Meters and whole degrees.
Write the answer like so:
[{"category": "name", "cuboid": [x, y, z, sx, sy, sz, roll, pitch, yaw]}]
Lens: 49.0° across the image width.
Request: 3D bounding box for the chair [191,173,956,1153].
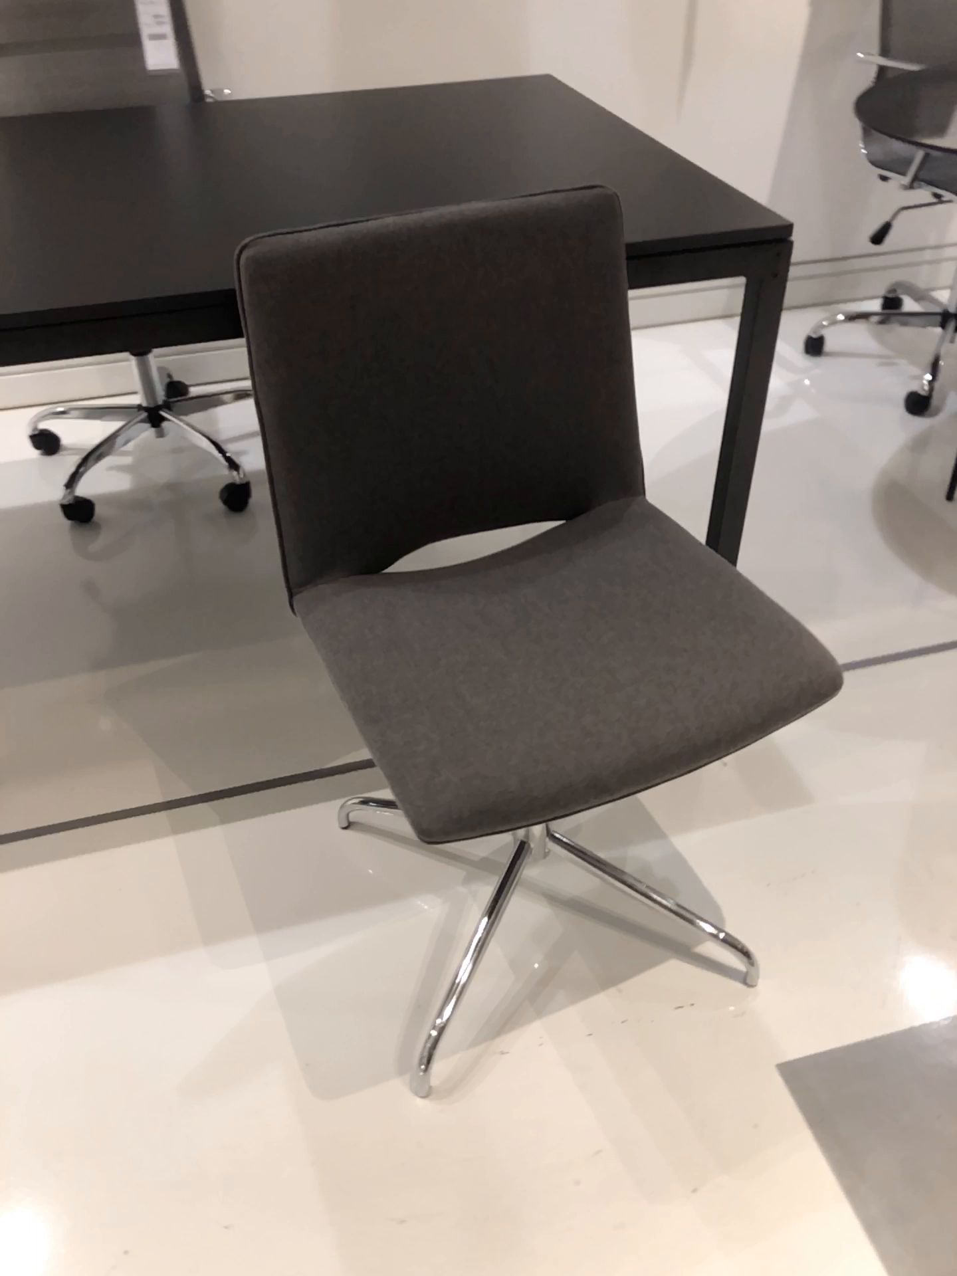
[{"category": "chair", "cuboid": [0.068, 0.022, 1.180, 0.521, 0.843, 0.533, -16, 40, -18]}]
